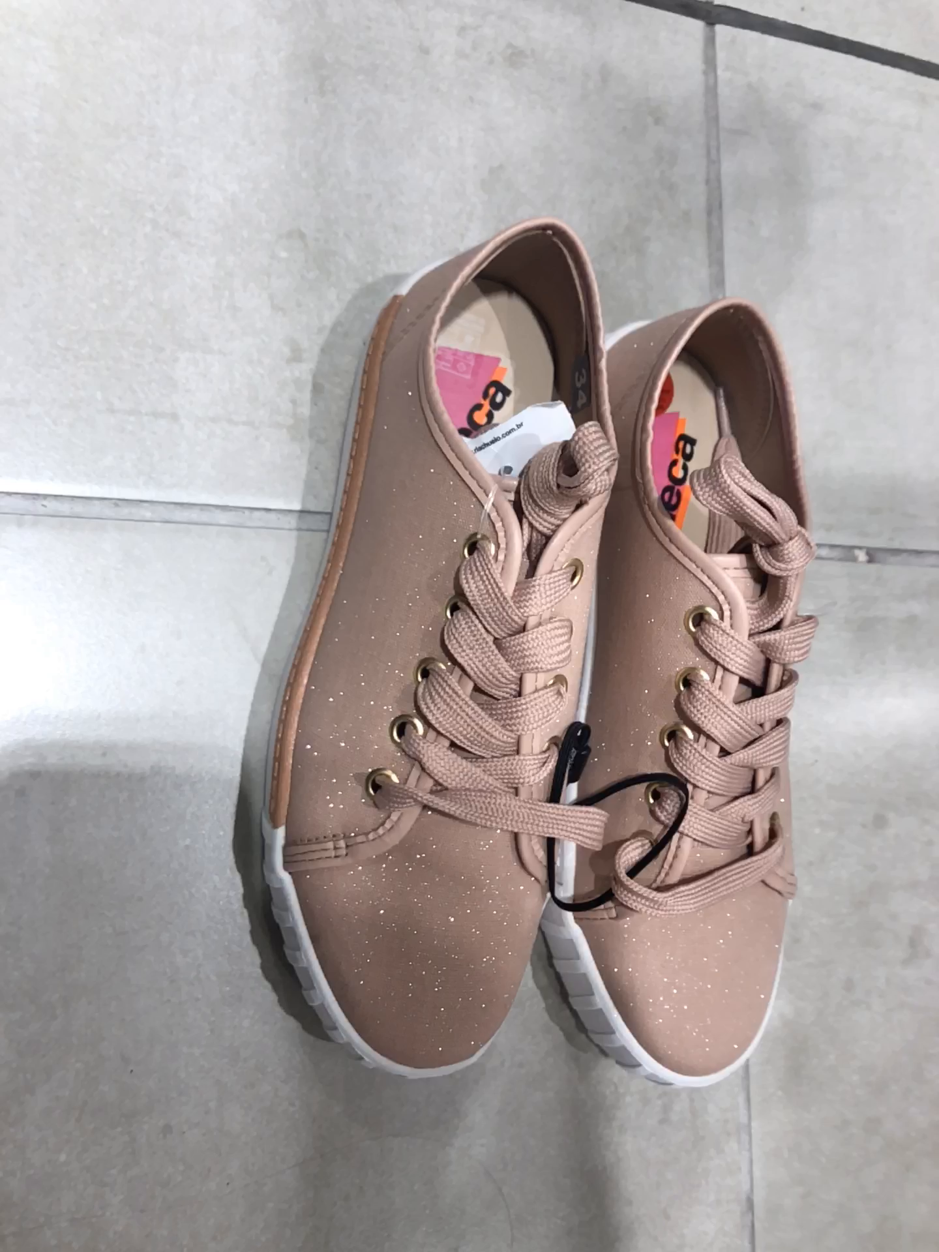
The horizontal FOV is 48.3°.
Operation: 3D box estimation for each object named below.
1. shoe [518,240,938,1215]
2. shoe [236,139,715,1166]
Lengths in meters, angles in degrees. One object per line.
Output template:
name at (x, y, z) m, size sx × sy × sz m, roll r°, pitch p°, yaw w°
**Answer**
shoe at (0.078, 0.025, 0.321) m, size 0.090 × 0.100 × 0.240 m, roll 1°, pitch 85°, yaw -20°
shoe at (-0.002, 0.009, 0.304) m, size 0.090 × 0.100 × 0.240 m, roll 8°, pitch 82°, yaw -20°
